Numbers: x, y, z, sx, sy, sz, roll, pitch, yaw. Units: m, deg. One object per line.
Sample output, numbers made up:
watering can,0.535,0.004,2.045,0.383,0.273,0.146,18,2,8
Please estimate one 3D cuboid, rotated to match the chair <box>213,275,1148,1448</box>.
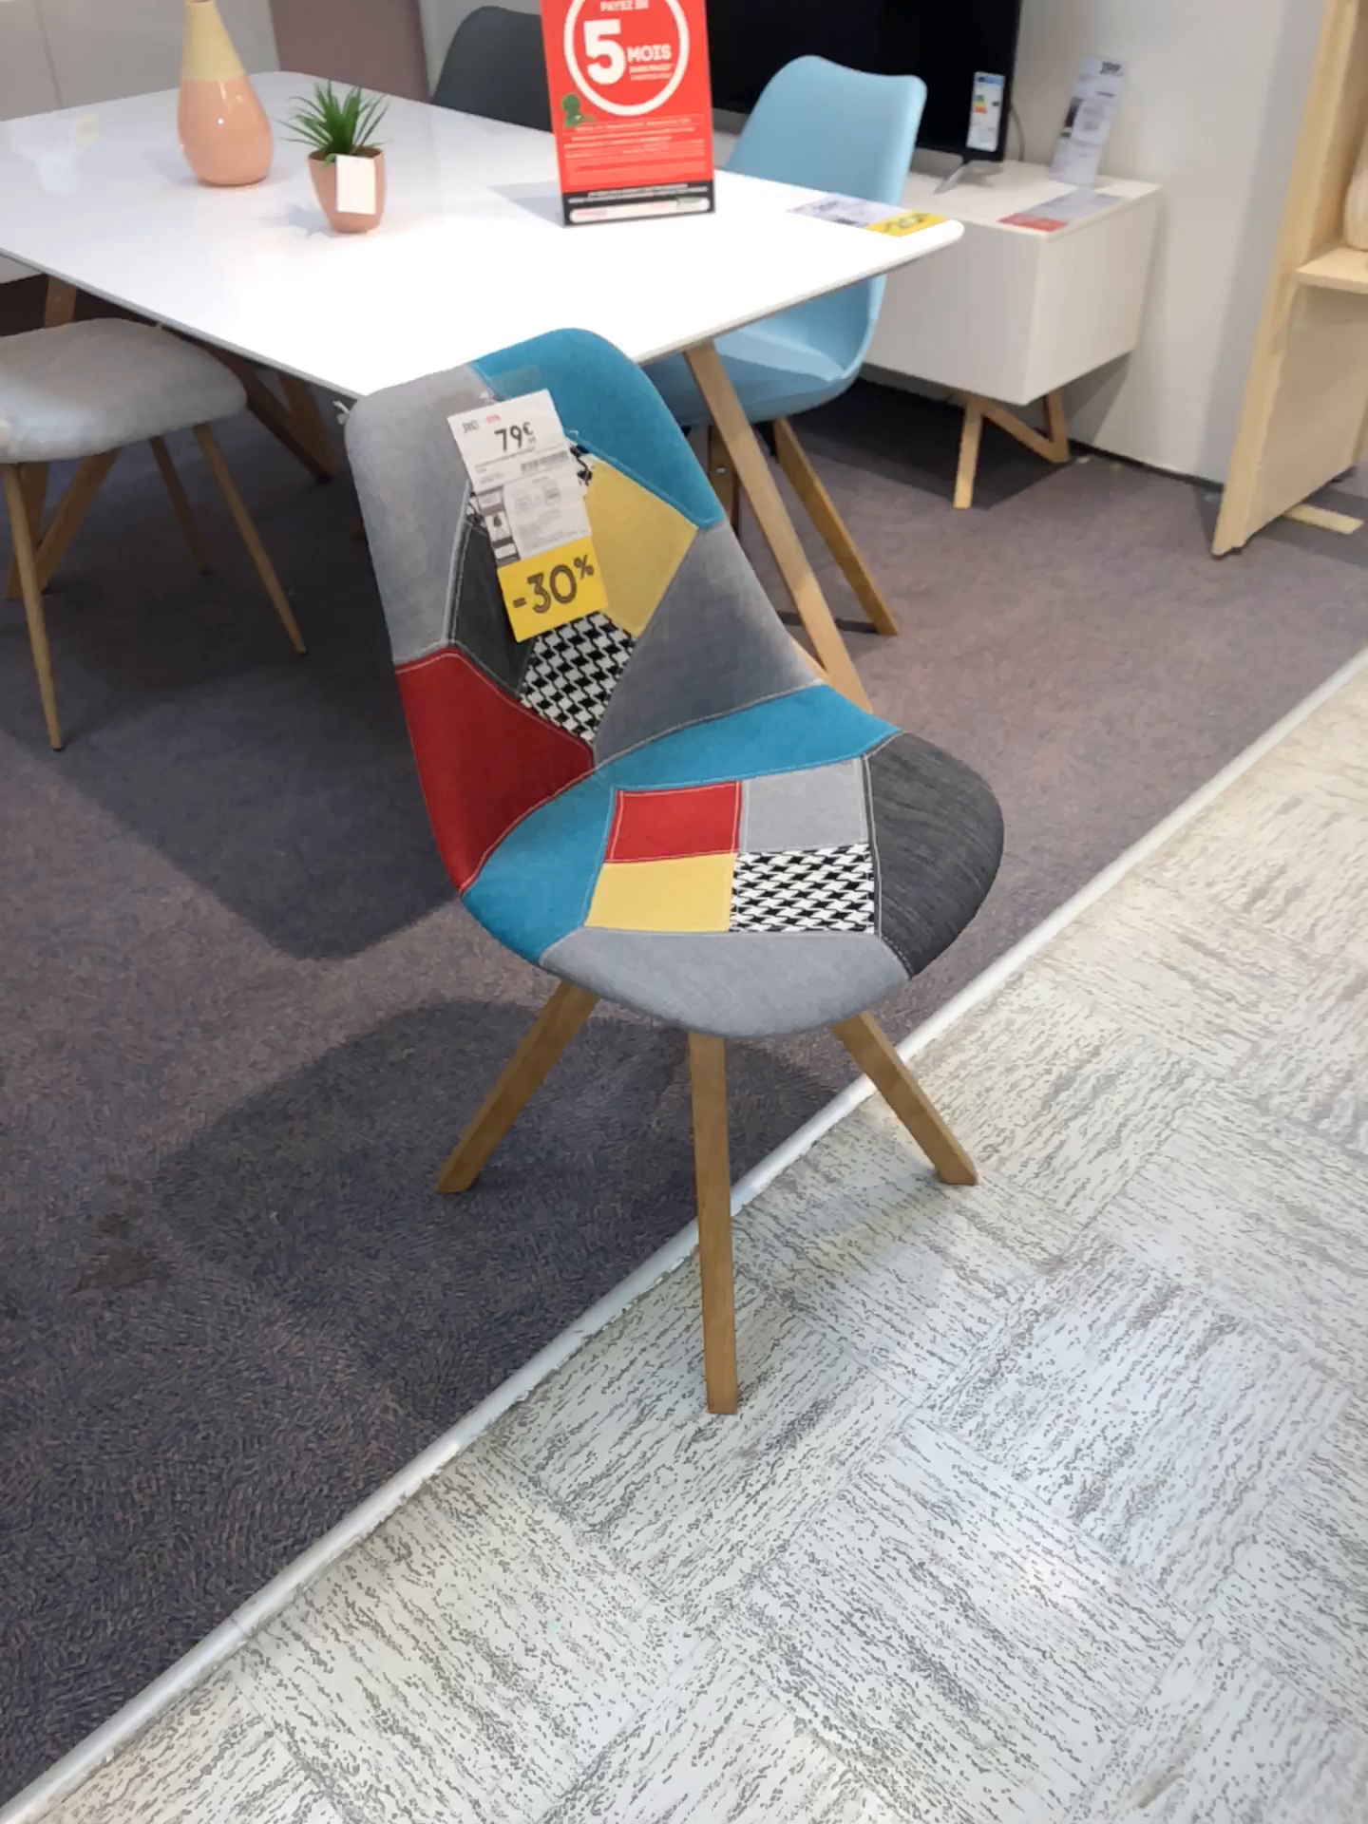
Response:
chair,0.004,-0.053,1.365,0.511,0.815,0.472,29,48,32
